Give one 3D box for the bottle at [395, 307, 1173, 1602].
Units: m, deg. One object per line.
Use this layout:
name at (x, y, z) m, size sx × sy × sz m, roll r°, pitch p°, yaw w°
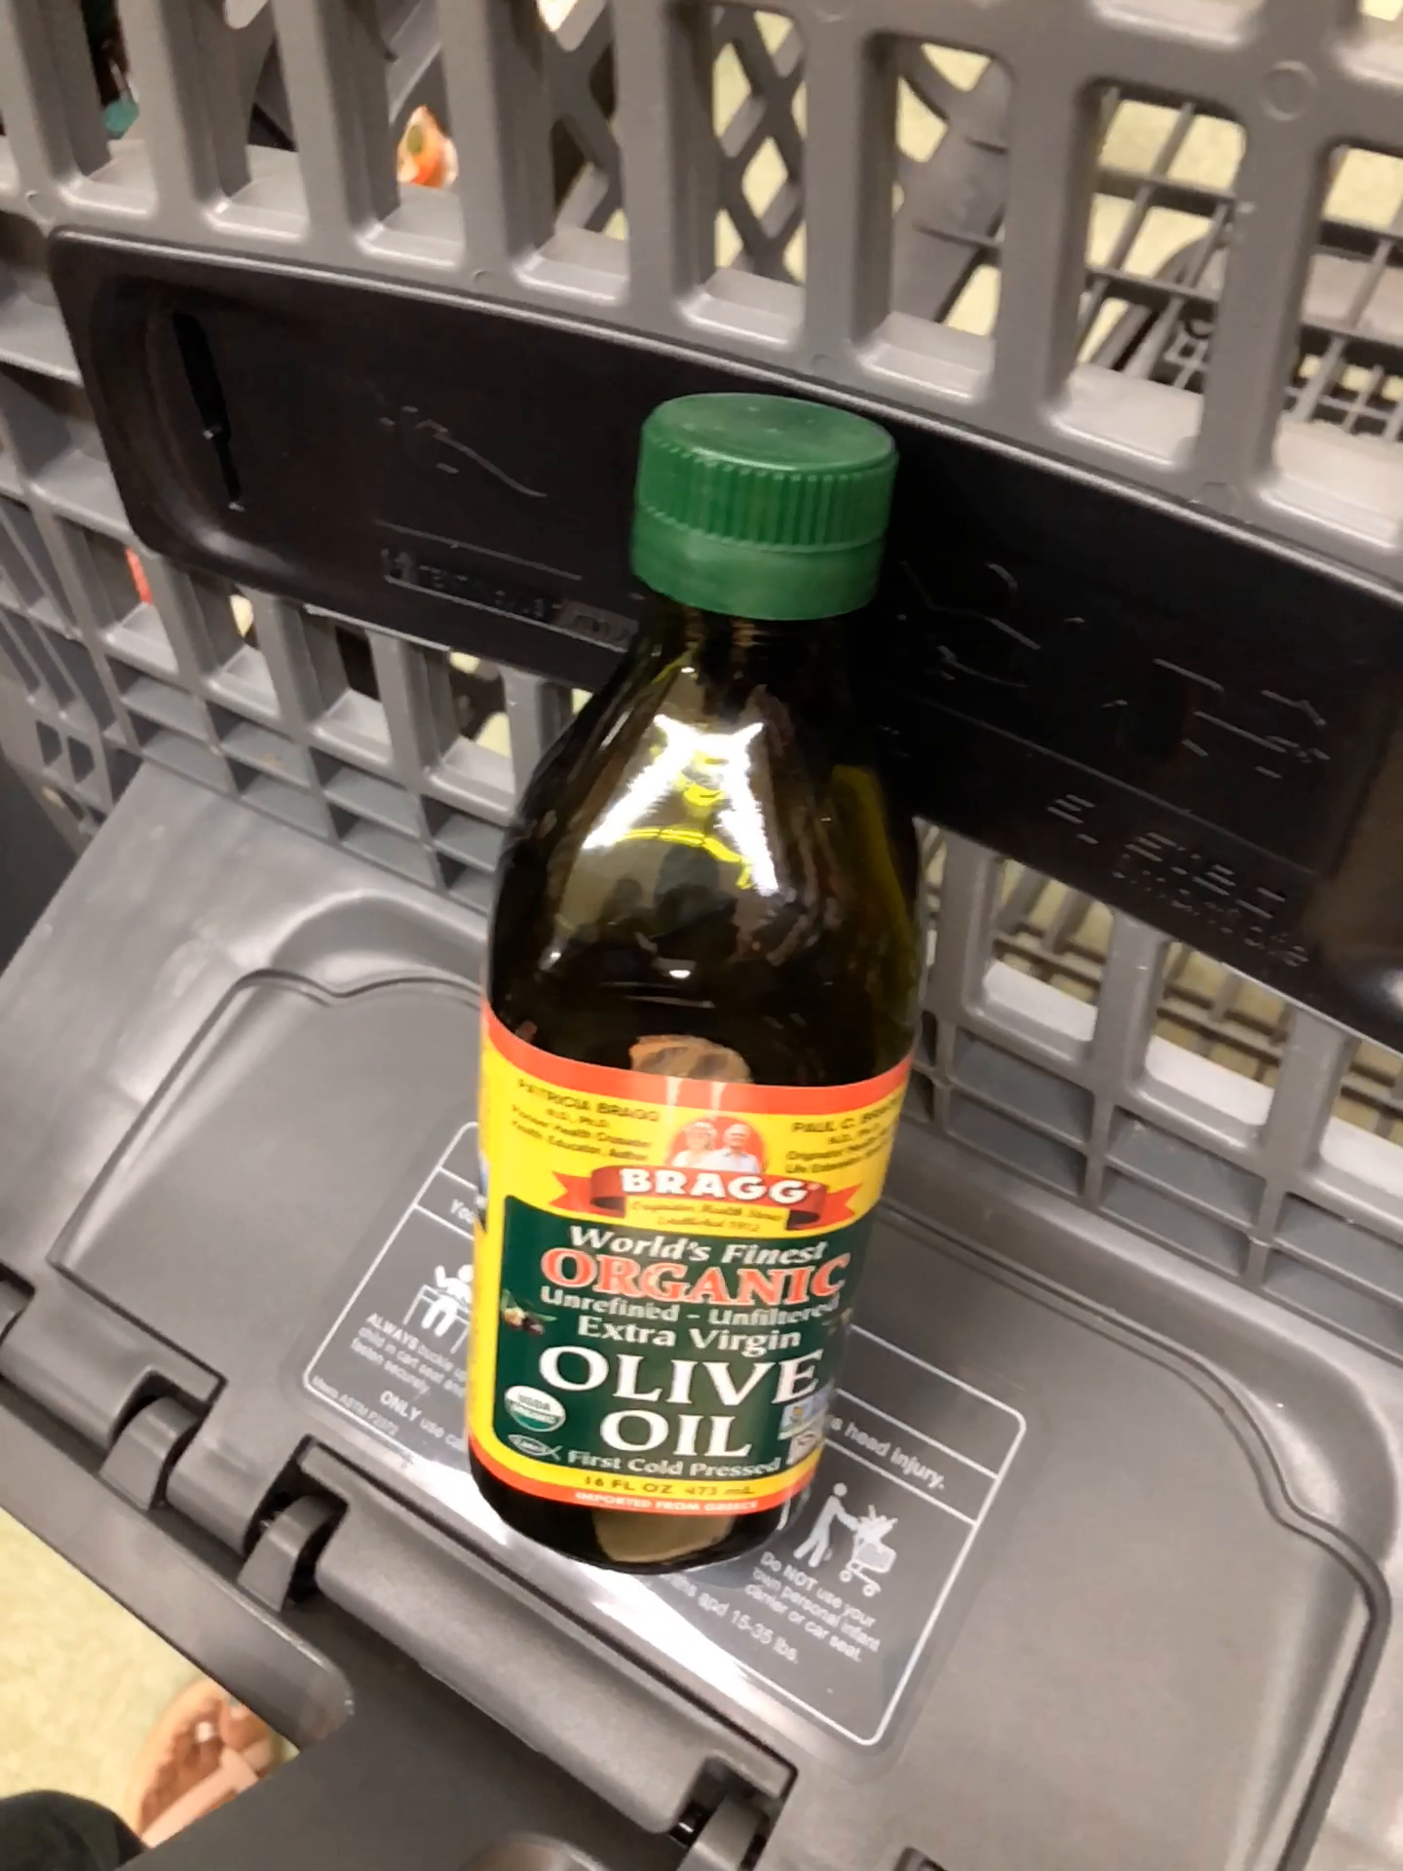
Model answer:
bottle at (-0.001, 0.015, 0.247) m, size 0.080 × 0.193 × 0.070 m, roll 6°, pitch 35°, yaw -4°
